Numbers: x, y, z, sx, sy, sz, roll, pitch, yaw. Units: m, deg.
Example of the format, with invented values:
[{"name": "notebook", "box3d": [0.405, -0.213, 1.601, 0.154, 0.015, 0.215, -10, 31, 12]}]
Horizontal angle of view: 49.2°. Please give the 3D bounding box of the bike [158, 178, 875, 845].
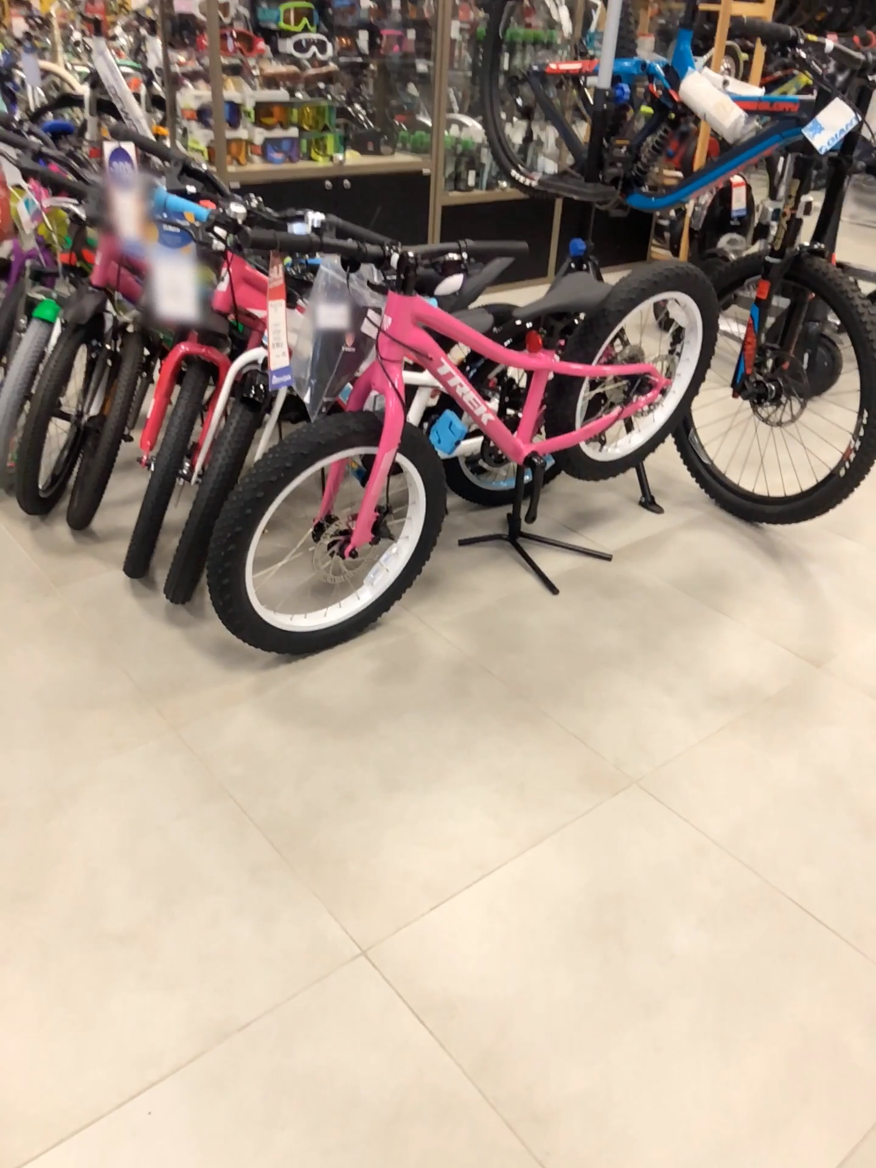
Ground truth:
[{"name": "bike", "box3d": [0.174, -0.270, 1.939, 1.338, 0.668, 0.572, -26, 41, -29]}]
